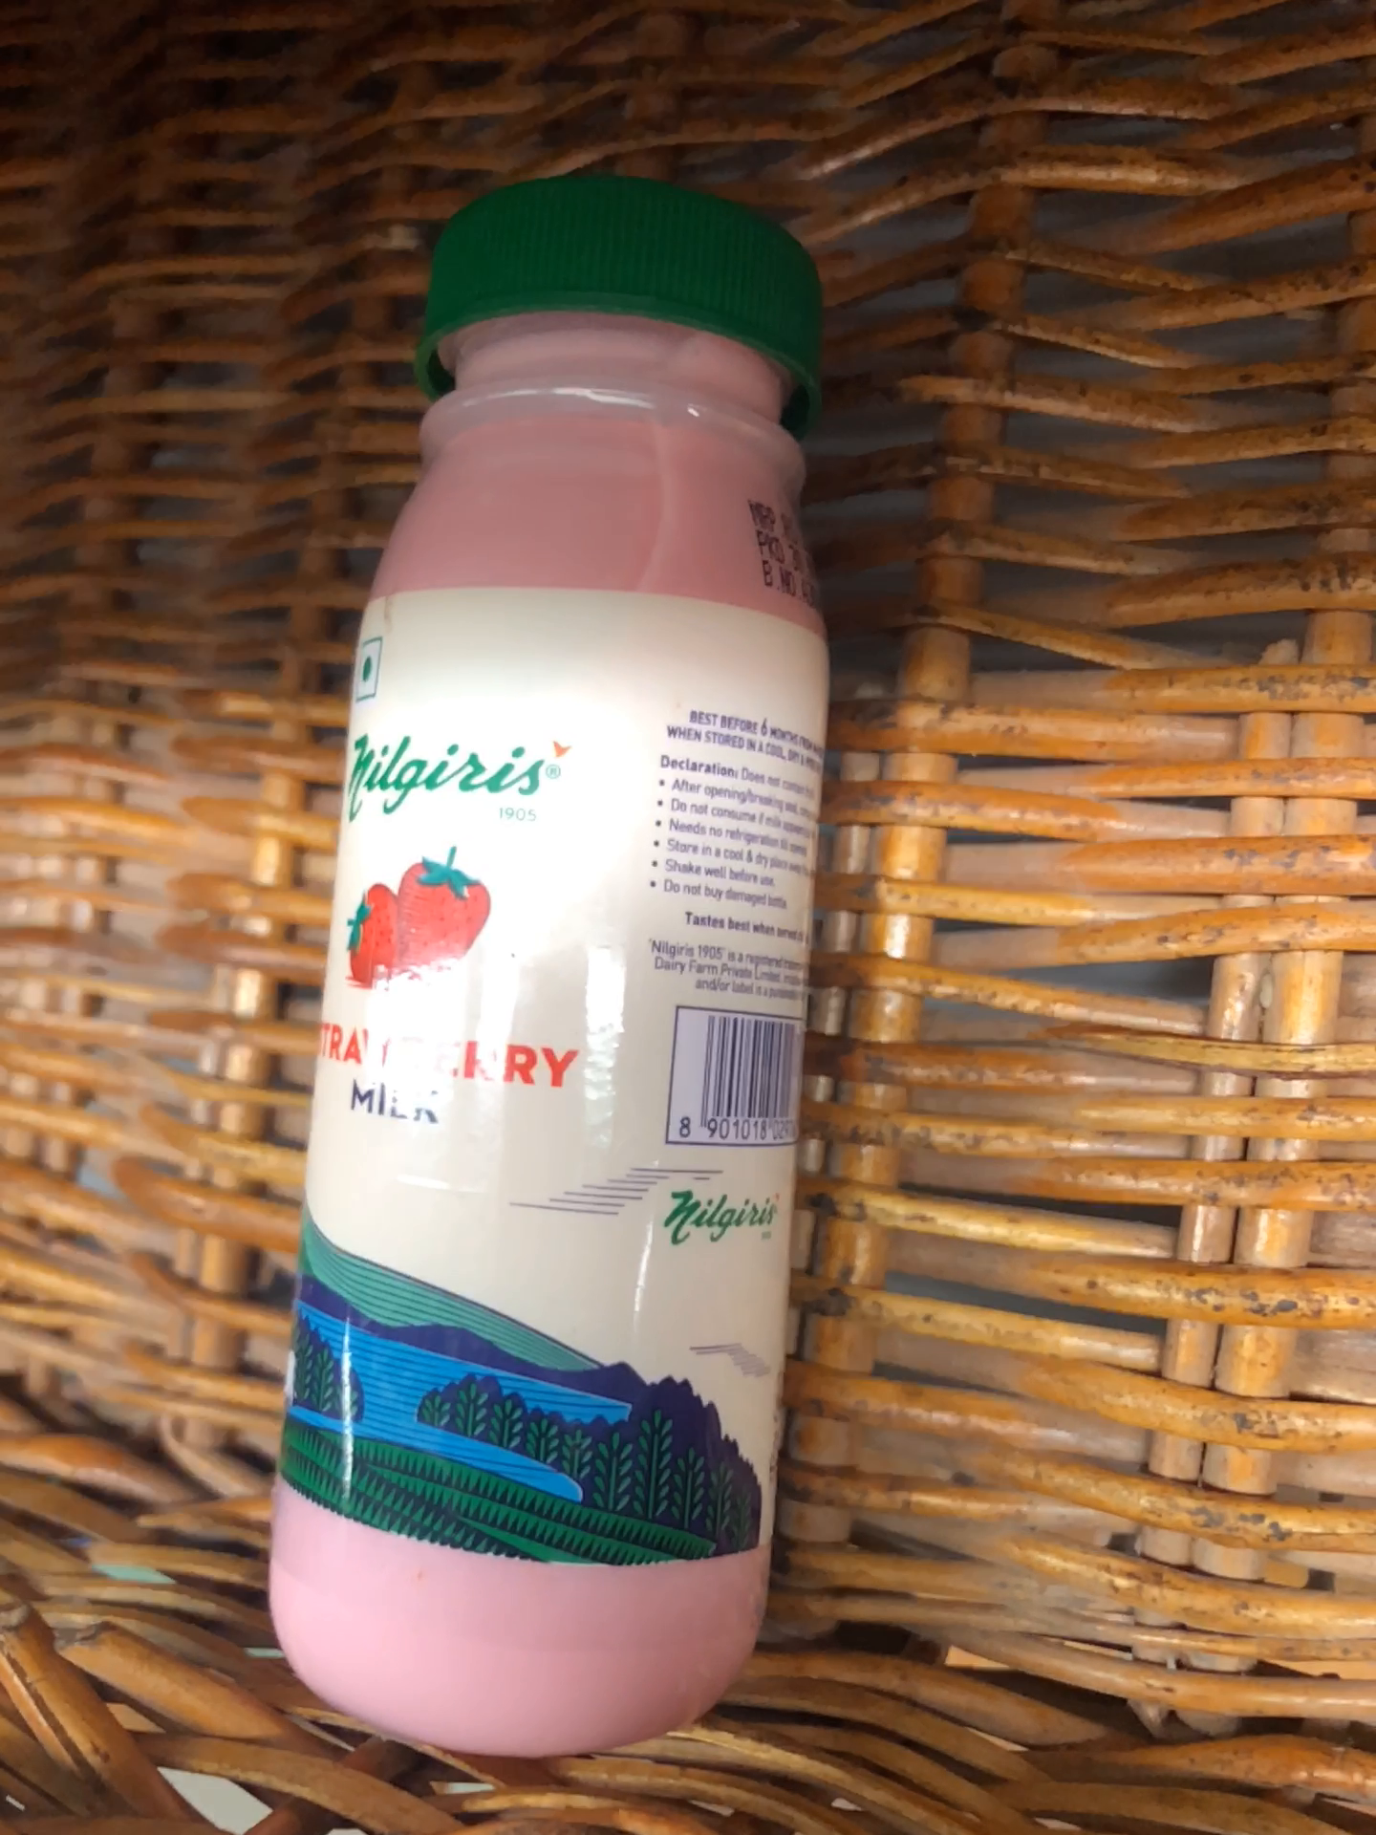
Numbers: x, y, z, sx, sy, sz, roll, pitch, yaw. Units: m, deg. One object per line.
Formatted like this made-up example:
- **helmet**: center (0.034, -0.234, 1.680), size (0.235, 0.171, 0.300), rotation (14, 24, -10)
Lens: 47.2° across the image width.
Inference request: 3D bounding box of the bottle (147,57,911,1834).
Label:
- **bottle**: center (-0.013, 0.003, 0.155), size (0.050, 0.040, 0.150), rotation (3, 86, 25)
